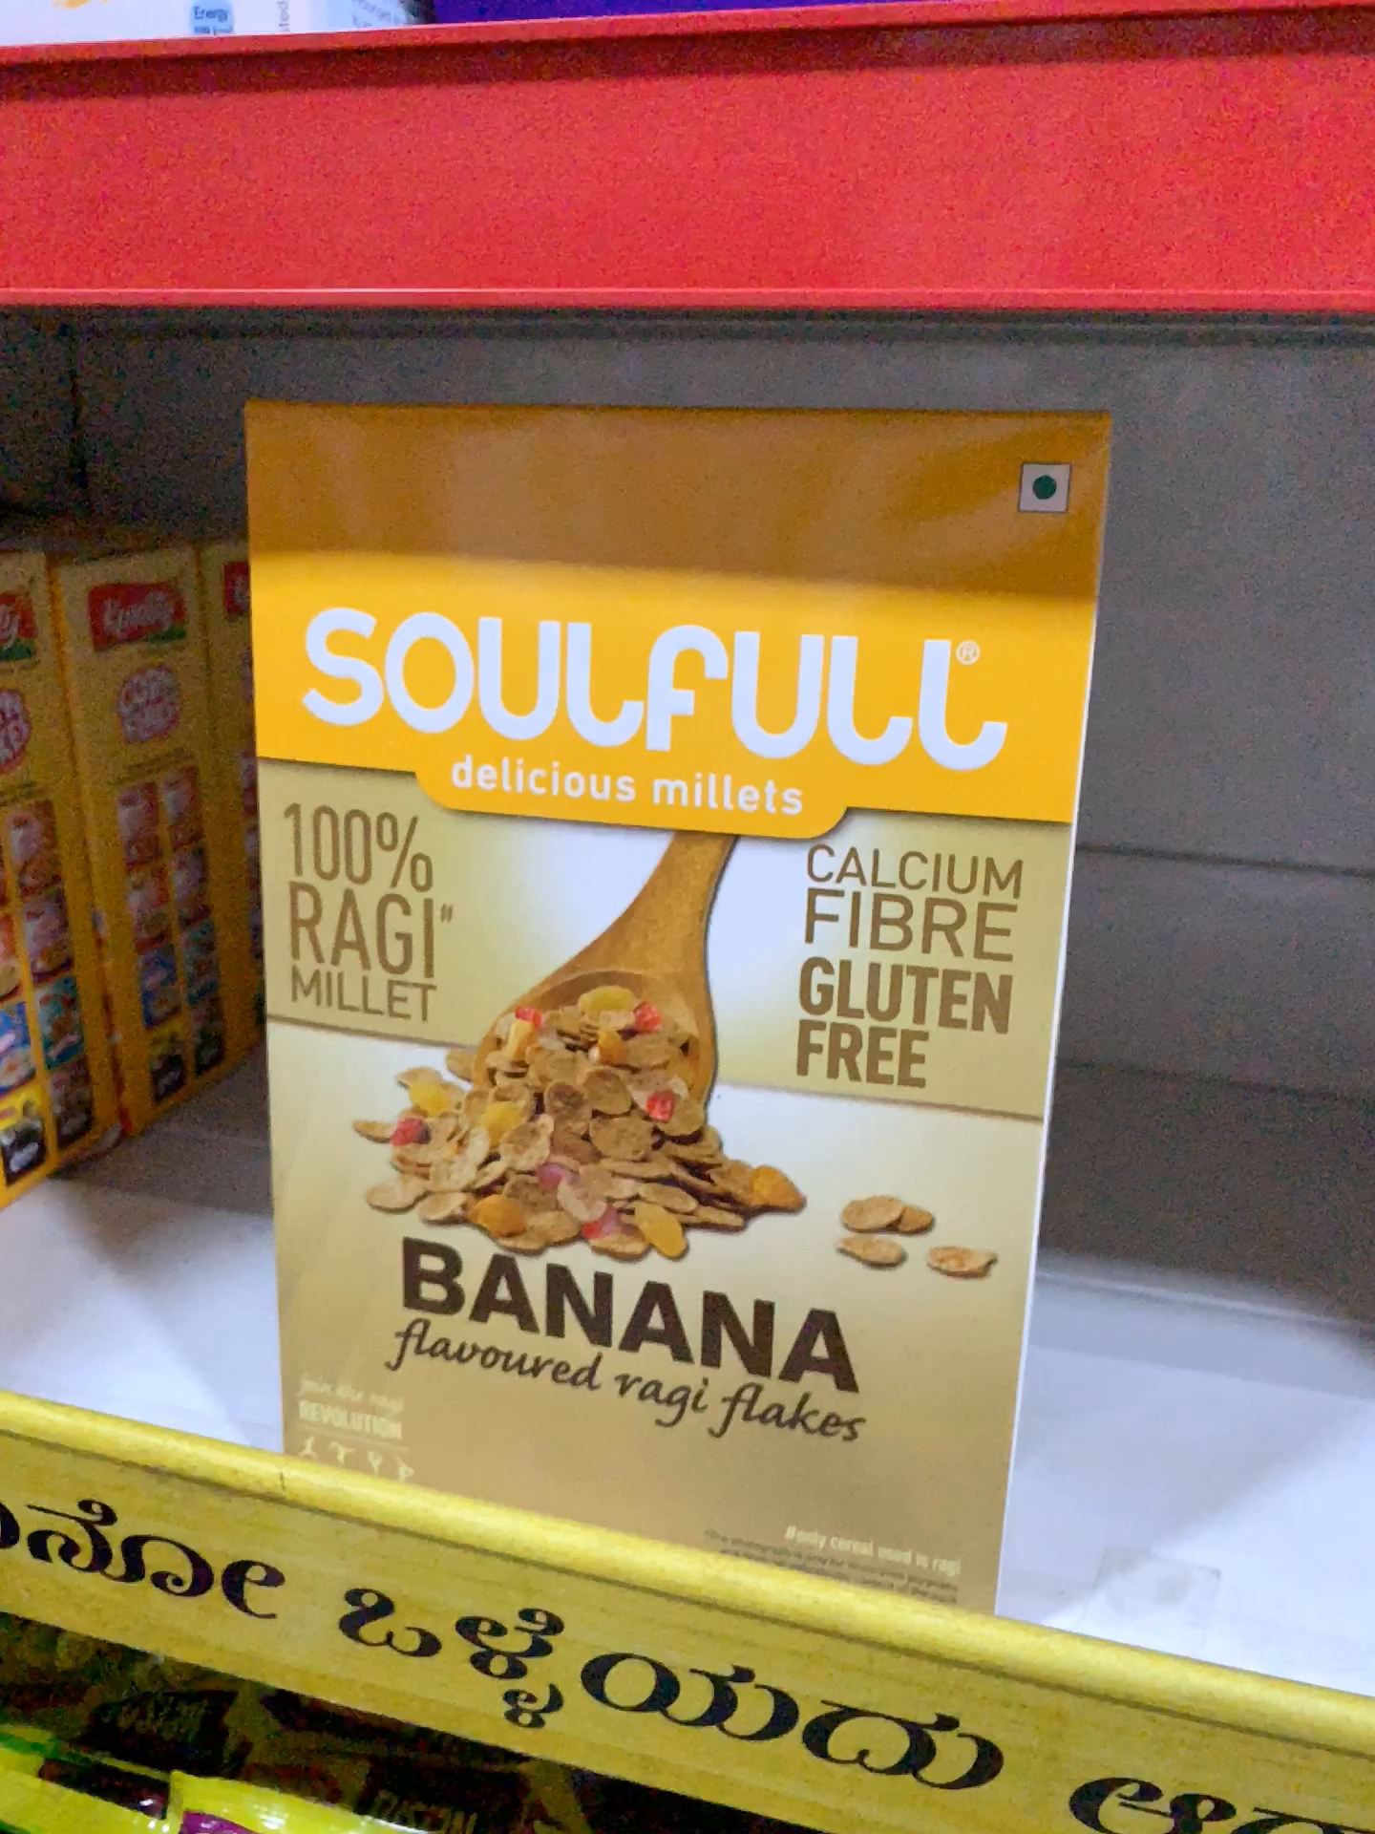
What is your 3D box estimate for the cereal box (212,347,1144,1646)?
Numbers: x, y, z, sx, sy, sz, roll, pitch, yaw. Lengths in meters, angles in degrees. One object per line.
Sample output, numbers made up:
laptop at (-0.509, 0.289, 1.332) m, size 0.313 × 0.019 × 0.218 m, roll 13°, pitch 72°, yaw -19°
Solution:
cereal box at (-0.004, 0.011, 0.292) m, size 0.160 × 0.229 × 0.060 m, roll 5°, pitch 13°, yaw 14°
